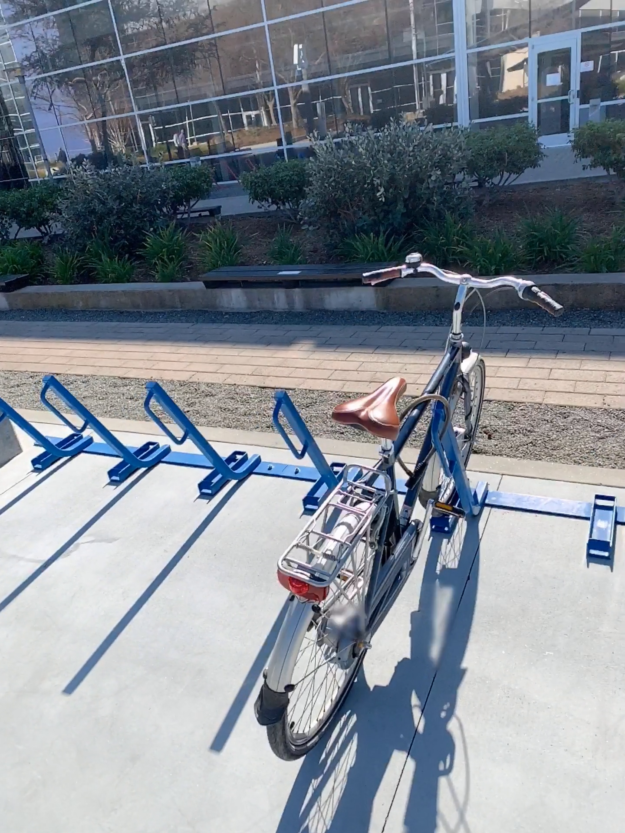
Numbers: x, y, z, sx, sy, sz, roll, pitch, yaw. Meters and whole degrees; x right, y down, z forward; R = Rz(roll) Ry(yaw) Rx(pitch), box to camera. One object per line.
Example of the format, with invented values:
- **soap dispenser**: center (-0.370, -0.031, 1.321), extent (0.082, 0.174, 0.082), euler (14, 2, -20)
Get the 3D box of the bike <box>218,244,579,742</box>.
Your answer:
- **bike**: center (0.362, 0.091, 1.860), extent (0.591, 0.916, 1.063), euler (7, 30, 30)
